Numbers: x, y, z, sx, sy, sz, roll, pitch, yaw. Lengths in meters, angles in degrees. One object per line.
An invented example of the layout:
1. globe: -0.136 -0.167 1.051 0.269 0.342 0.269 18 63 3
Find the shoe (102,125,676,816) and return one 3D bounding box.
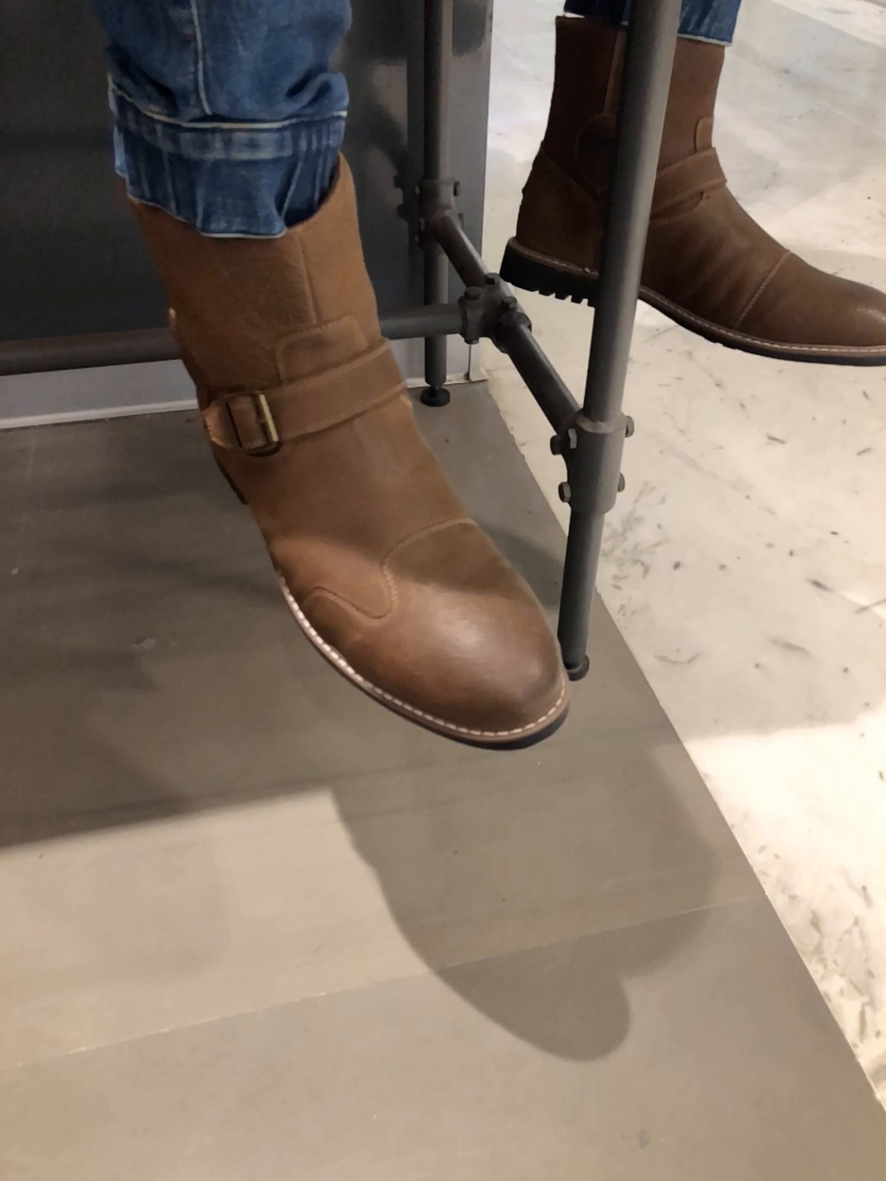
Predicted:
1. shoe: -0.037 -0.070 0.475 0.109 0.206 0.275 -27 49 -23

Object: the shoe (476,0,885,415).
1. shoe: 0.215 -0.296 0.725 0.324 0.206 0.114 22 33 13
